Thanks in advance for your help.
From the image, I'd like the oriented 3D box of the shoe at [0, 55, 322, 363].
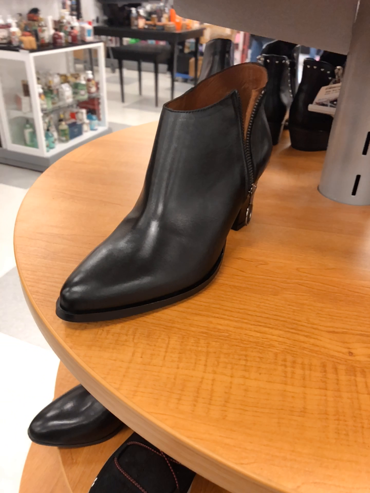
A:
[{"bbox_3d":[0.001,-0.059,0.345,0.101,0.156,0.258,24,39,31],"label":"shoe"}]
